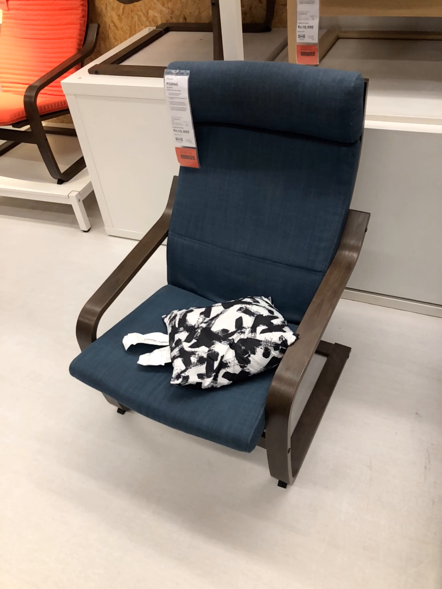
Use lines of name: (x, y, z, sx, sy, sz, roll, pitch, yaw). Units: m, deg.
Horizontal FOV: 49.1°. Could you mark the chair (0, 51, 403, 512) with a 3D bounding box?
chair: (-0.026, -0.070, 1.339, 0.722, 0.884, 0.693, 18, 48, 25)
